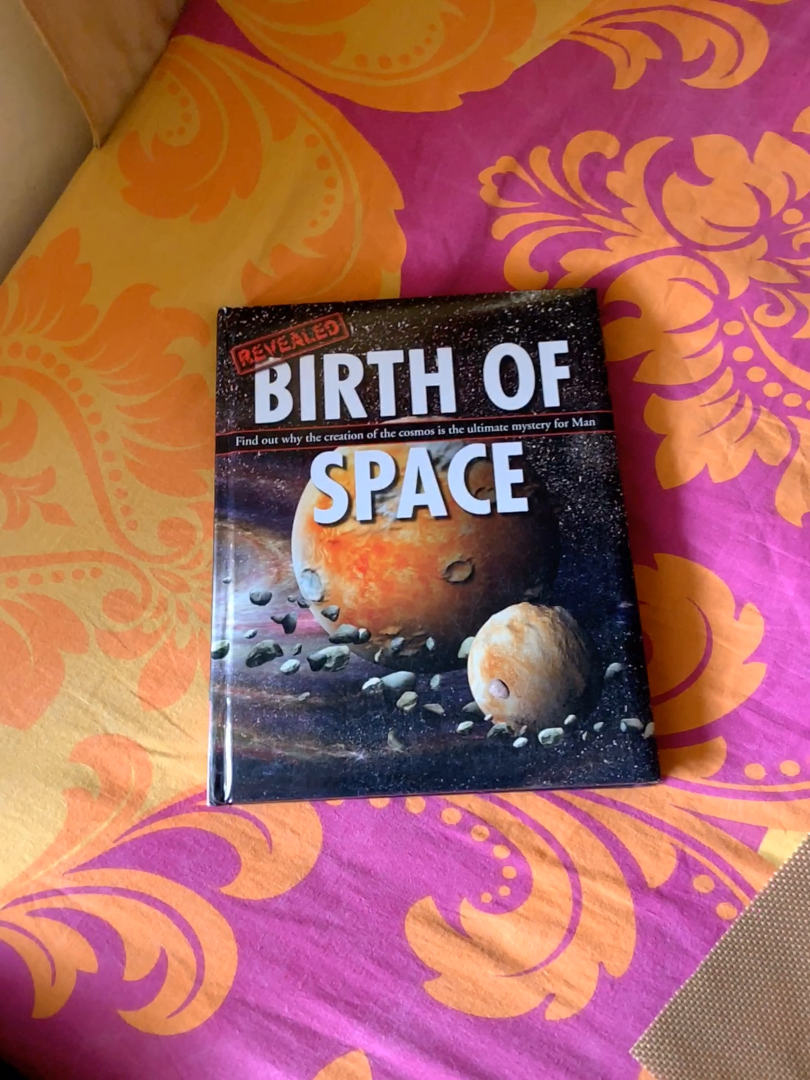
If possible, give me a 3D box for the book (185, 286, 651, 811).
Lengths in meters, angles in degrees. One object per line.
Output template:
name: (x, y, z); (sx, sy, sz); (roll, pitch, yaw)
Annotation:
book: (0.000, -0.004, 0.421); (0.211, 0.020, 0.258); (-3, 74, 1)
